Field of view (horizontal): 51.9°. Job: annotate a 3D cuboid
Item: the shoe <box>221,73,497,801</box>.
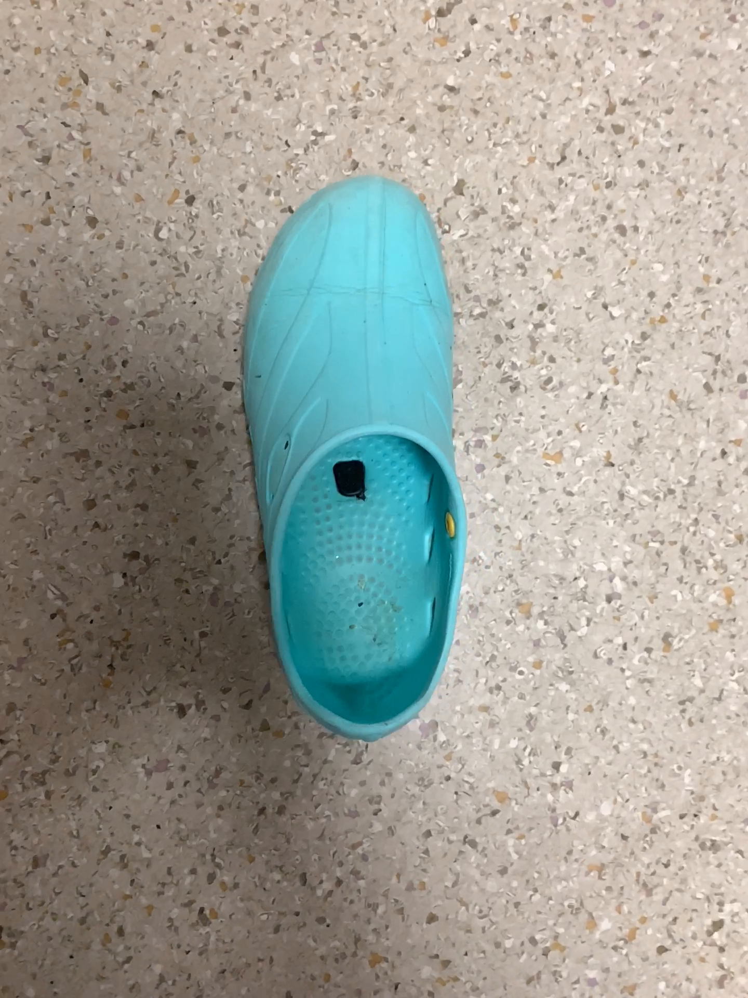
[{"bbox_3d":[-0.010,-0.023,0.348,0.105,0.106,0.275,0,90,-6],"label":"shoe"}]
